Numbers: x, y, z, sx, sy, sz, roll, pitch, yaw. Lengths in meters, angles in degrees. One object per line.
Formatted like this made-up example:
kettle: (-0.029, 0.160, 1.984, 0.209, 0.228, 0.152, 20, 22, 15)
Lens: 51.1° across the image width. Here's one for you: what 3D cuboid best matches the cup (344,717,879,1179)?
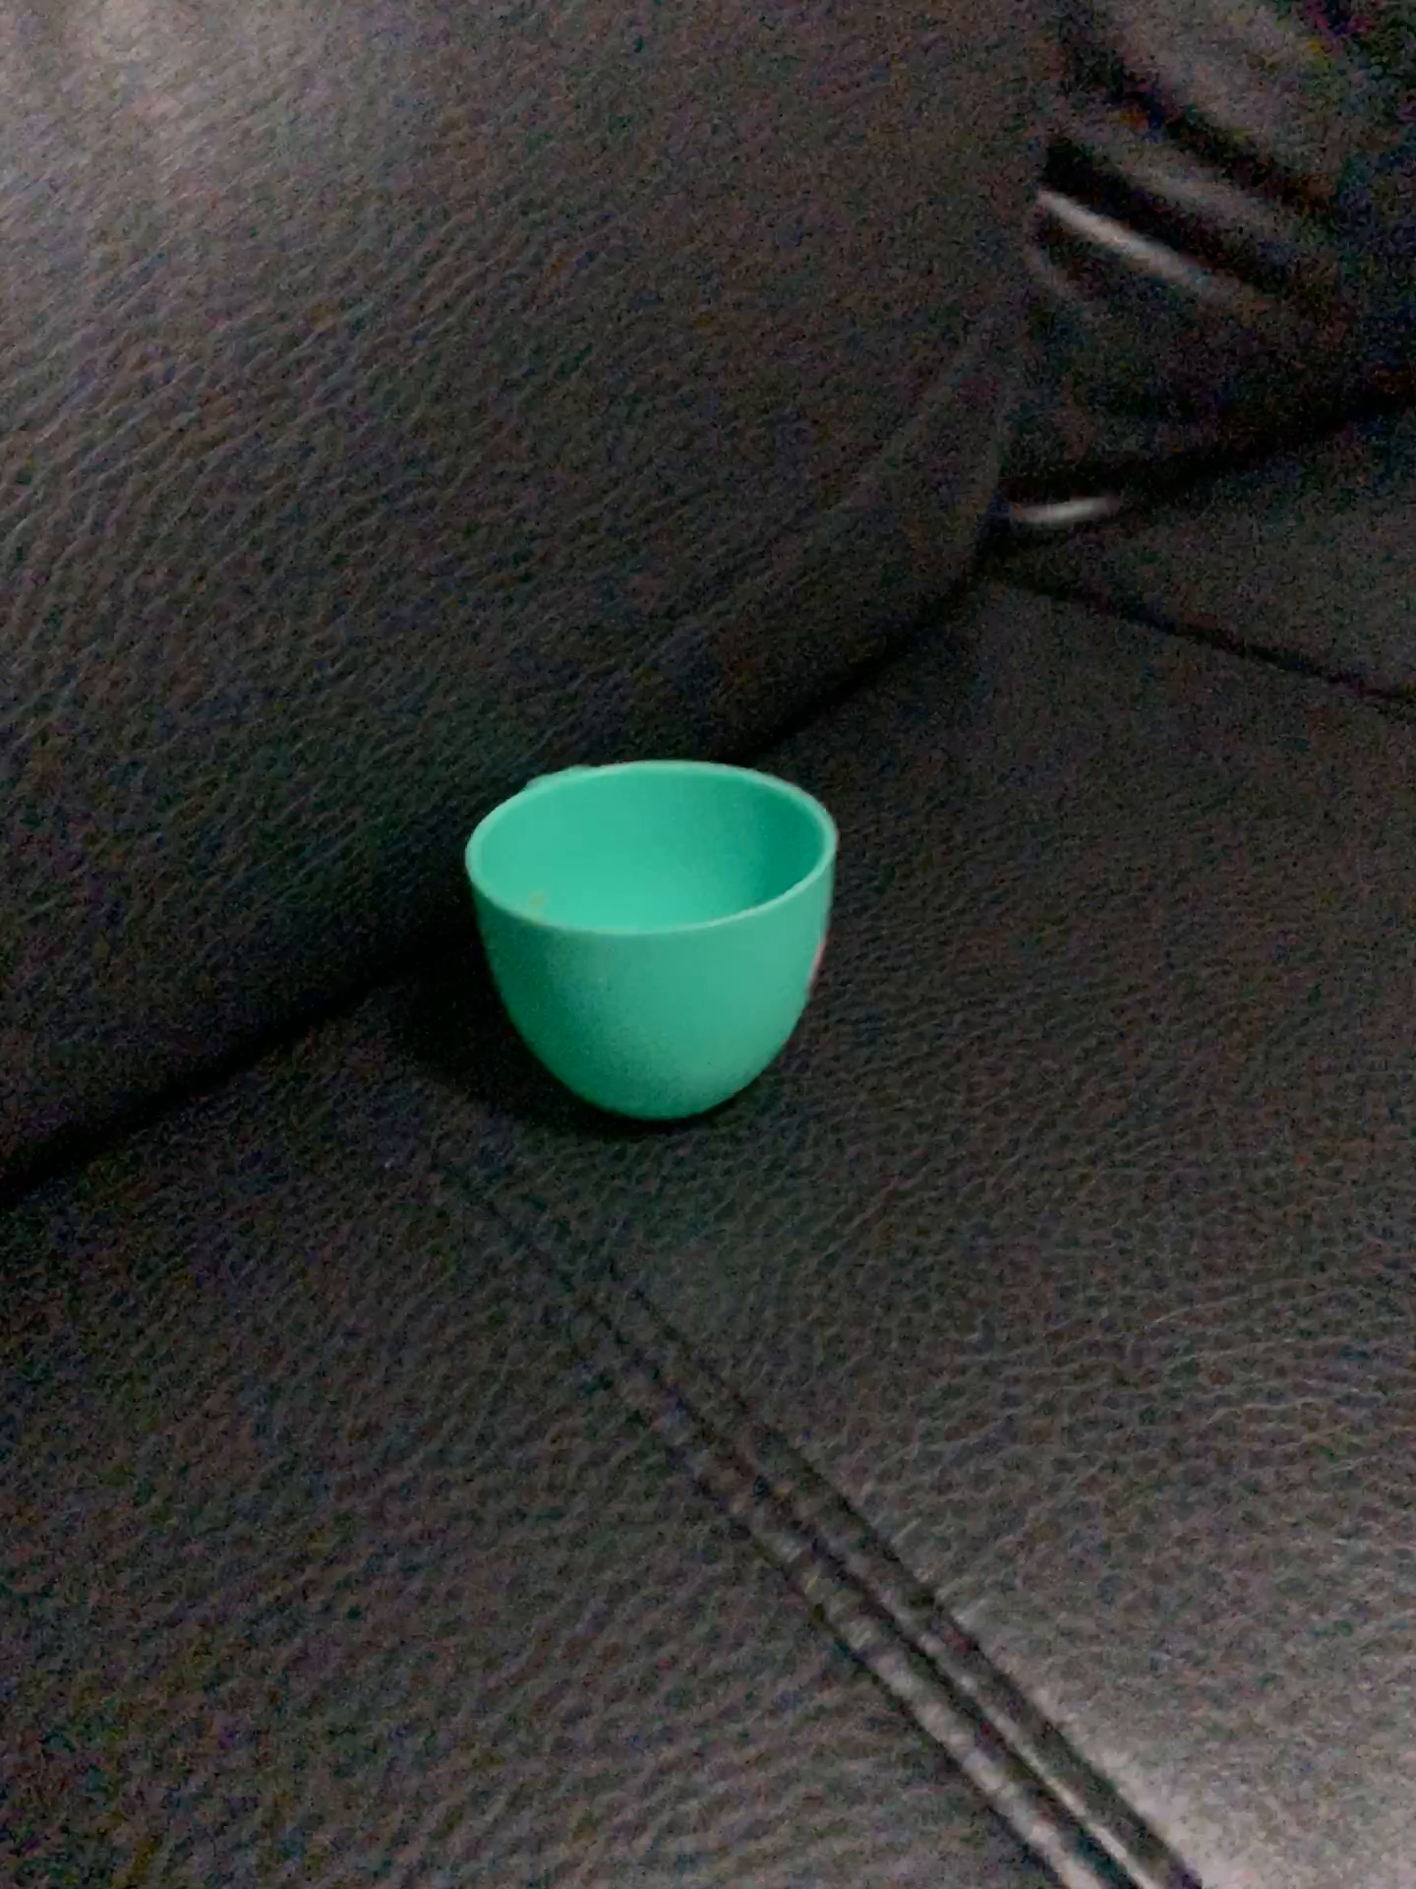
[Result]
cup: (-0.015, -0.004, 0.204, 0.053, 0.030, 0.063, -14, 27, -18)
